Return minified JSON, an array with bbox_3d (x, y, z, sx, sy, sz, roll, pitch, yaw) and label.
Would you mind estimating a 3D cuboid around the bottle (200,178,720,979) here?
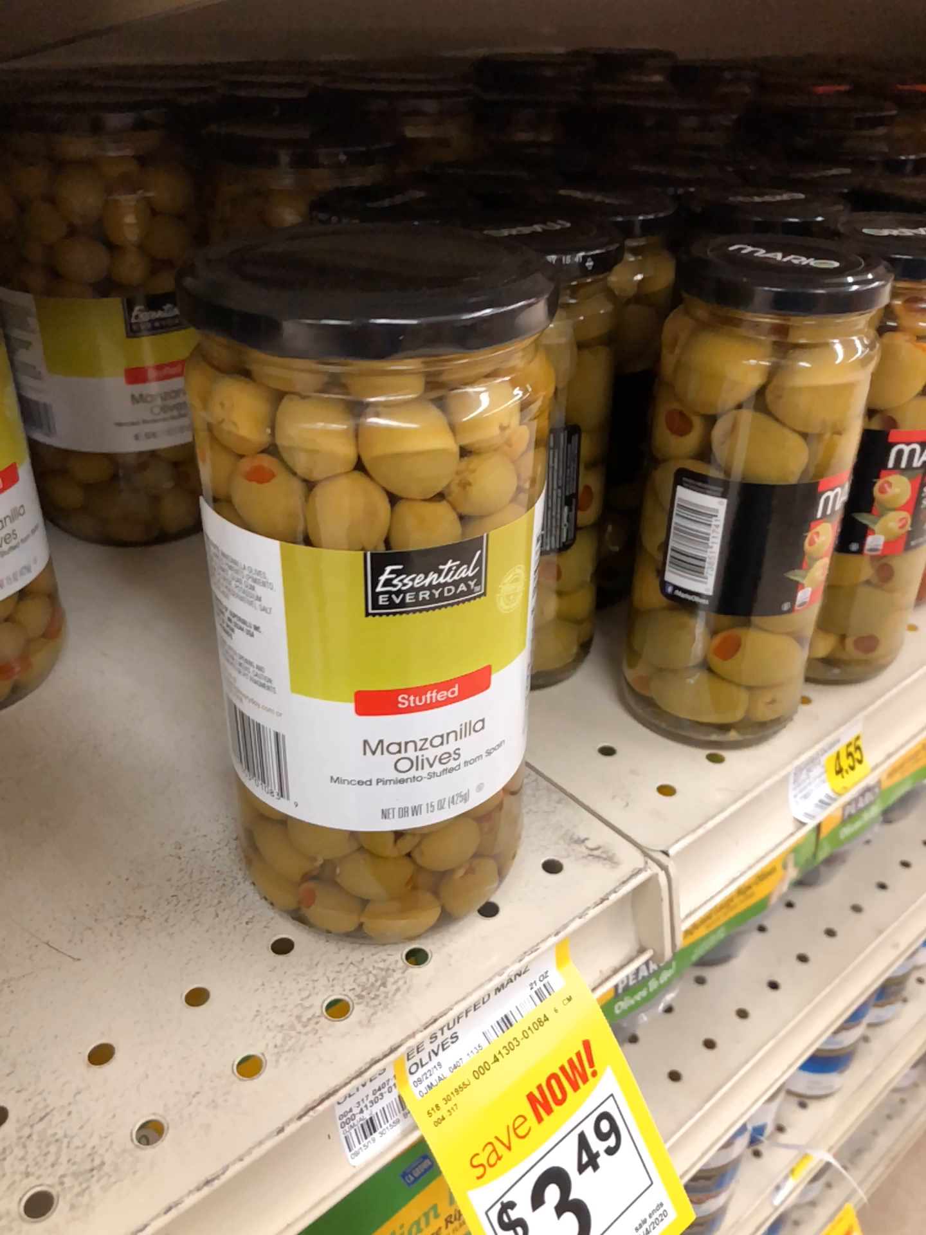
[{"bbox_3d":[-0.007,-0.008,0.242,0.080,0.163,0.070,-10,34,-19],"label":"bottle"}]
